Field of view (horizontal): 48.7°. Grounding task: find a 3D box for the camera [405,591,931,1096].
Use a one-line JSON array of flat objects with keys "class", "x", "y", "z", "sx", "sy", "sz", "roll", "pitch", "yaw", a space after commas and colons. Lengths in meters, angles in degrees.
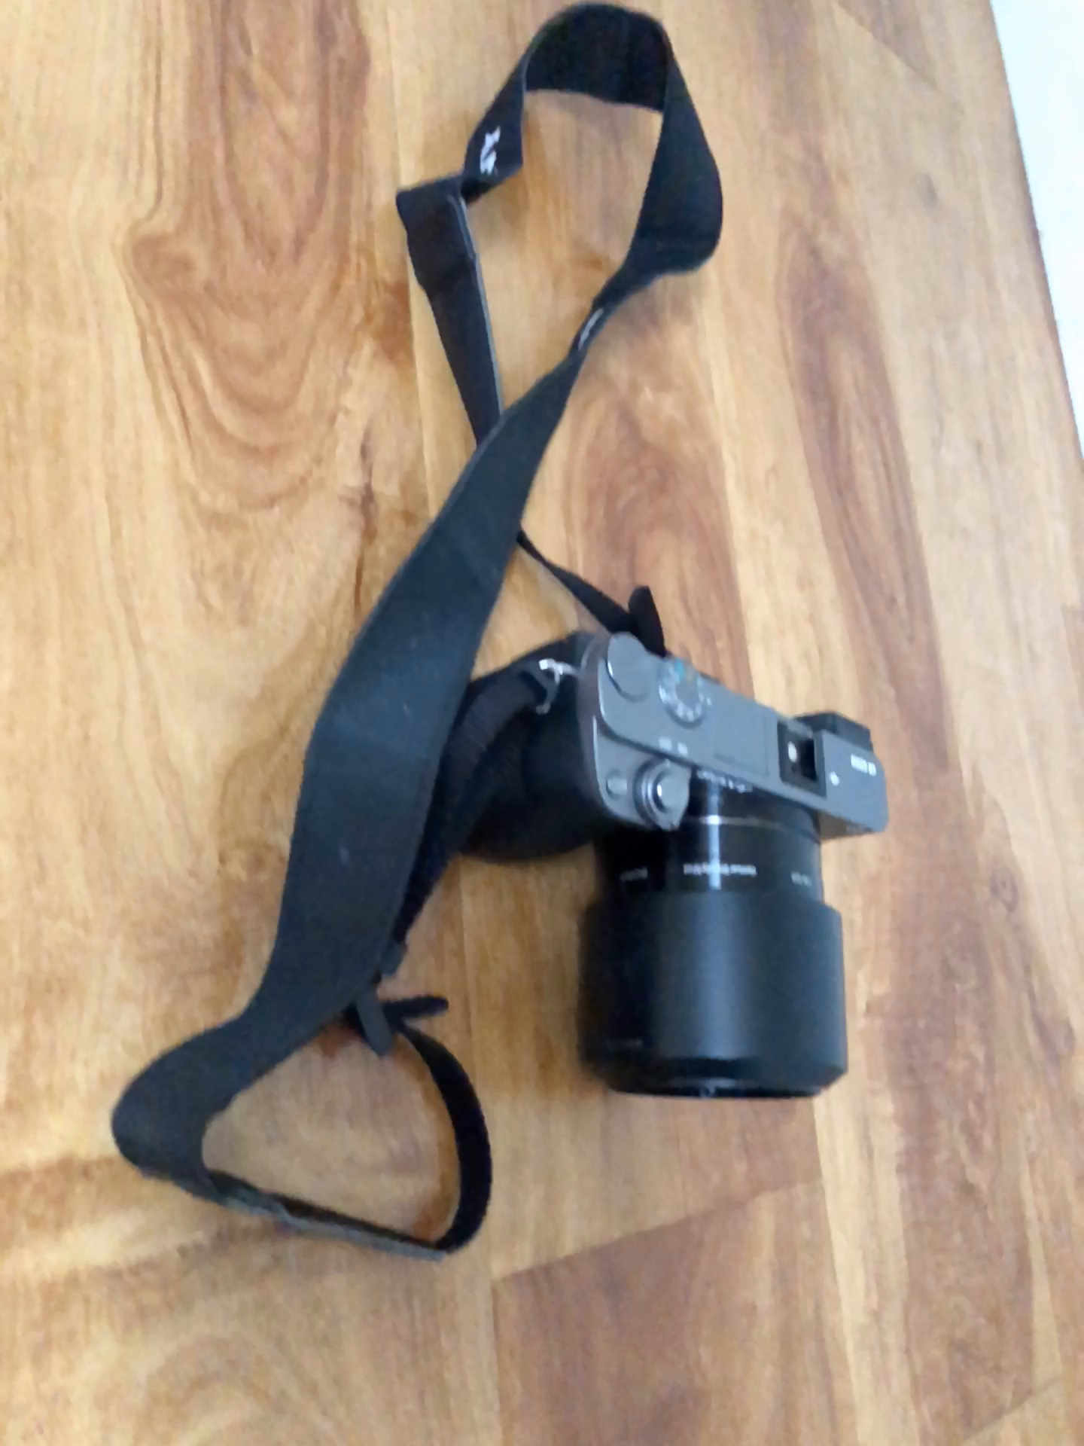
[{"class": "camera", "x": 0.038, "y": 0.044, "z": 0.335, "sx": 0.131, "sy": 0.070, "sz": 0.110, "roll": 18, "pitch": 64, "yaw": -40}]
